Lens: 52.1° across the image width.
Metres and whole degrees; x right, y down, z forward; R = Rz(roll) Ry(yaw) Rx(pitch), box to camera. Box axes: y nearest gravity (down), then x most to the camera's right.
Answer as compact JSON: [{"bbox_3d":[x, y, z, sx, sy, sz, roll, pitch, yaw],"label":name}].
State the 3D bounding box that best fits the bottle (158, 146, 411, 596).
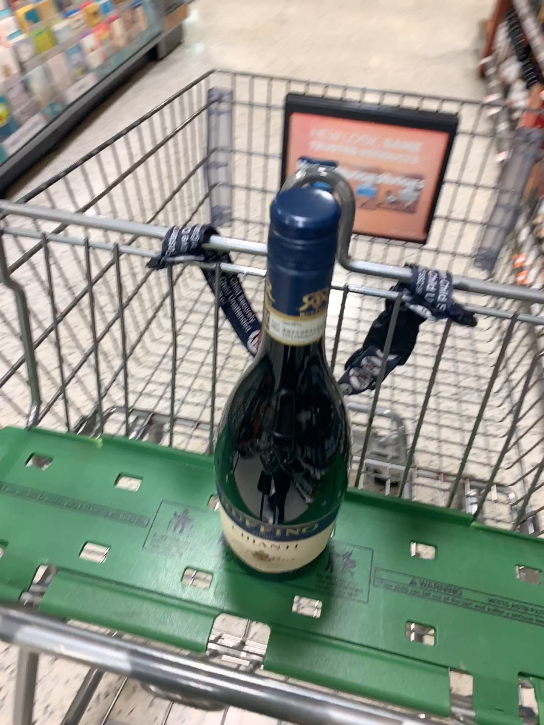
[{"bbox_3d":[0.006,0.028,0.329,0.090,0.267,0.091,2,45,-2],"label":"bottle"}]
